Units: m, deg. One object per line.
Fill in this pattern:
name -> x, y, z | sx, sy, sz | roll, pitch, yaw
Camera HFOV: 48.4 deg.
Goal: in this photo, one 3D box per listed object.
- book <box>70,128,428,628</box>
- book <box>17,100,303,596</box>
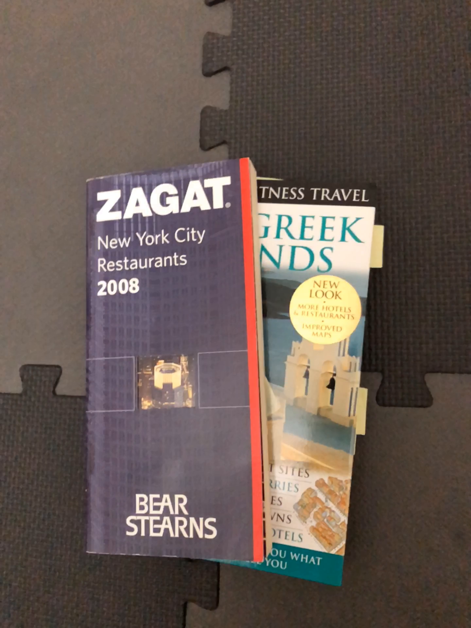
book -> 0.008, 0.028, 0.293 | 0.170, 0.030, 0.260 | 4, 84, 14
book -> -0.047, 0.016, 0.290 | 0.150, 0.020, 0.250 | -5, 82, 13
